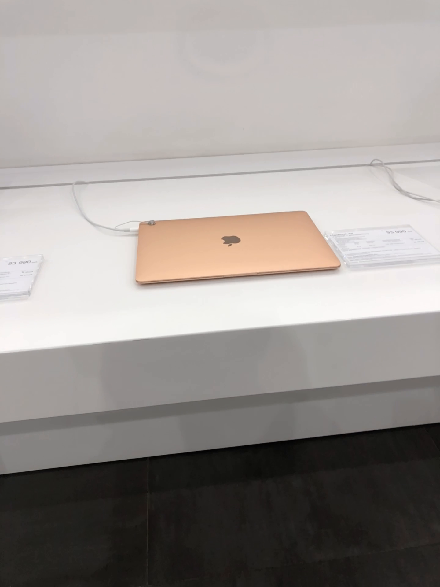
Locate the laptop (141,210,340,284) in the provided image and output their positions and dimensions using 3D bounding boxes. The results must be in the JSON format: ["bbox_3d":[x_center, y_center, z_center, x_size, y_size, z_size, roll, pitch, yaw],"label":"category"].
[{"bbox_3d":[0.021,-0.083,0.786,0.293,0.005,0.202,-6,32,-5],"label":"laptop"}]
